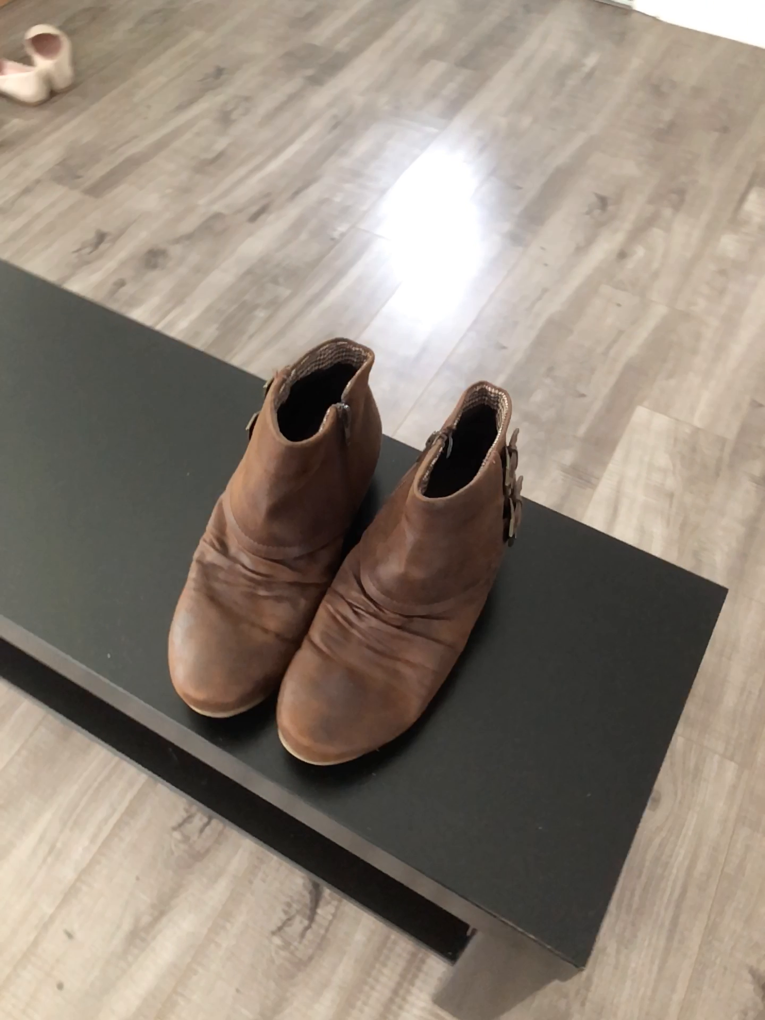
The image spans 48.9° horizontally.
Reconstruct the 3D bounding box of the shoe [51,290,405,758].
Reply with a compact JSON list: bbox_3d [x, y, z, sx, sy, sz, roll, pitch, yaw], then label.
[{"bbox_3d":[-0.074,0.002,0.513,0.090,0.130,0.240,19,56,11],"label":"shoe"}]

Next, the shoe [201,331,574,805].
[{"bbox_3d":[0.012,0.025,0.486,0.090,0.110,0.240,25,57,15],"label":"shoe"}]
